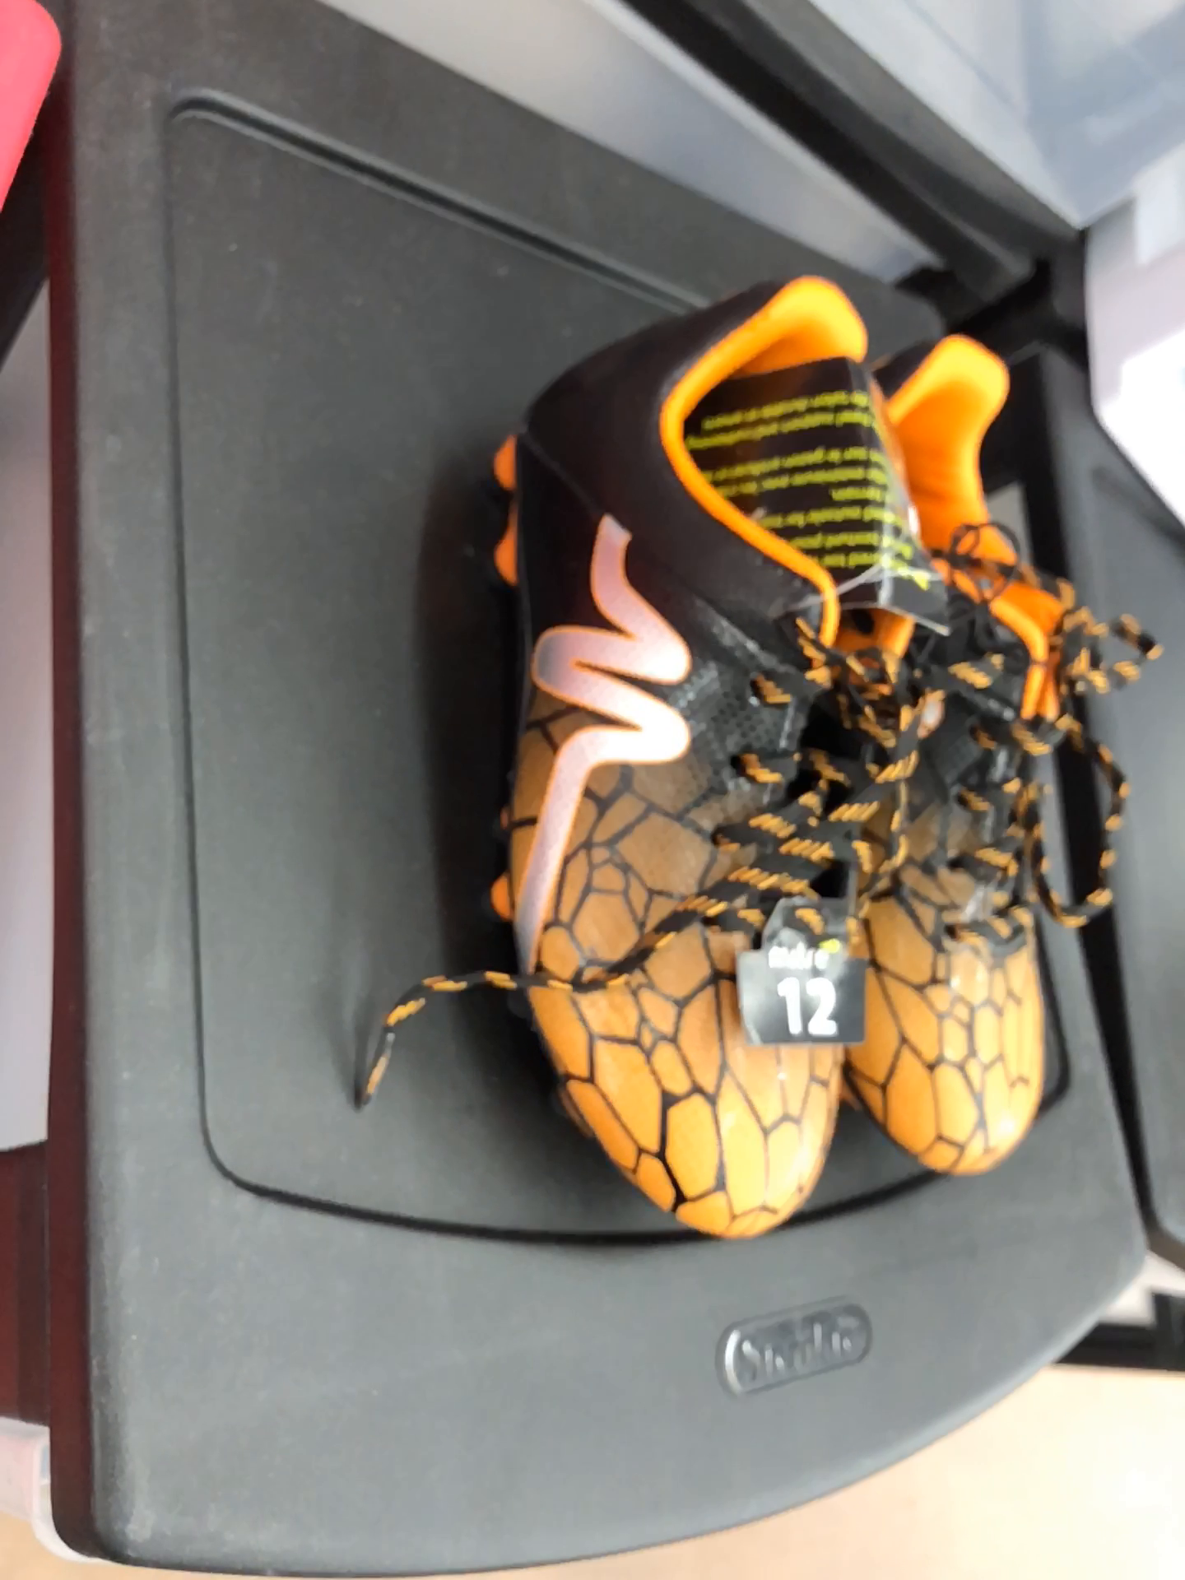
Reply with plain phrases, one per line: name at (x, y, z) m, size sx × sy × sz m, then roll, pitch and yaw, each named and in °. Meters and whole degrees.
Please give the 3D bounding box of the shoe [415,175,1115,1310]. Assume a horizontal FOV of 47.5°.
shoe at (0.029, -0.005, 0.282) m, size 0.080 × 0.080 × 0.200 m, roll 2°, pitch 73°, yaw -40°

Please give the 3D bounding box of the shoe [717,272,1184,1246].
shoe at (0.100, -0.004, 0.318) m, size 0.080 × 0.070 × 0.200 m, roll 1°, pitch 74°, yaw -40°
